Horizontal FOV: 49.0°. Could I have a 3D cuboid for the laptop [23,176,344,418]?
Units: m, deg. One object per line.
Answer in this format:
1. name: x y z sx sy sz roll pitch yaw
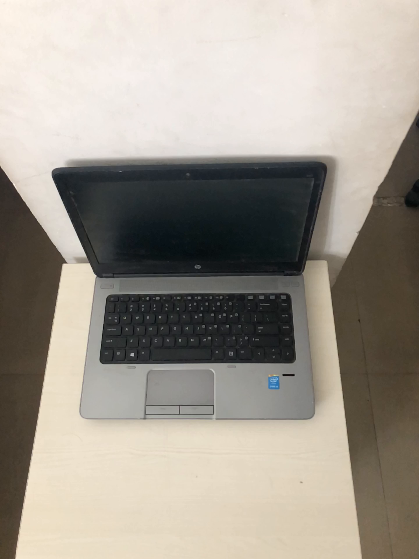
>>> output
1. laptop: -0.017 0.035 0.579 0.304 0.210 0.237 0 65 2
